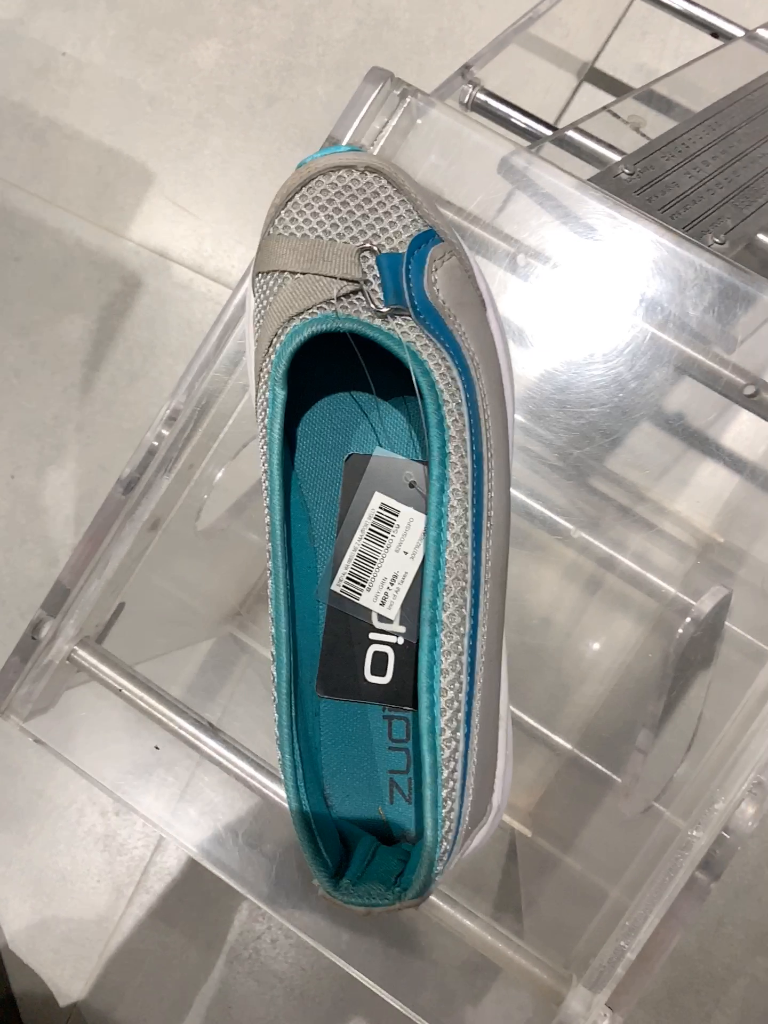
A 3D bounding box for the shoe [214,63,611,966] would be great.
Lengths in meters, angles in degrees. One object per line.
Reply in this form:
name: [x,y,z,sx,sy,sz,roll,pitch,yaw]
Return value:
shoe: [0.011,0.002,0.285,0.090,0.080,0.270,-7,88,6]
